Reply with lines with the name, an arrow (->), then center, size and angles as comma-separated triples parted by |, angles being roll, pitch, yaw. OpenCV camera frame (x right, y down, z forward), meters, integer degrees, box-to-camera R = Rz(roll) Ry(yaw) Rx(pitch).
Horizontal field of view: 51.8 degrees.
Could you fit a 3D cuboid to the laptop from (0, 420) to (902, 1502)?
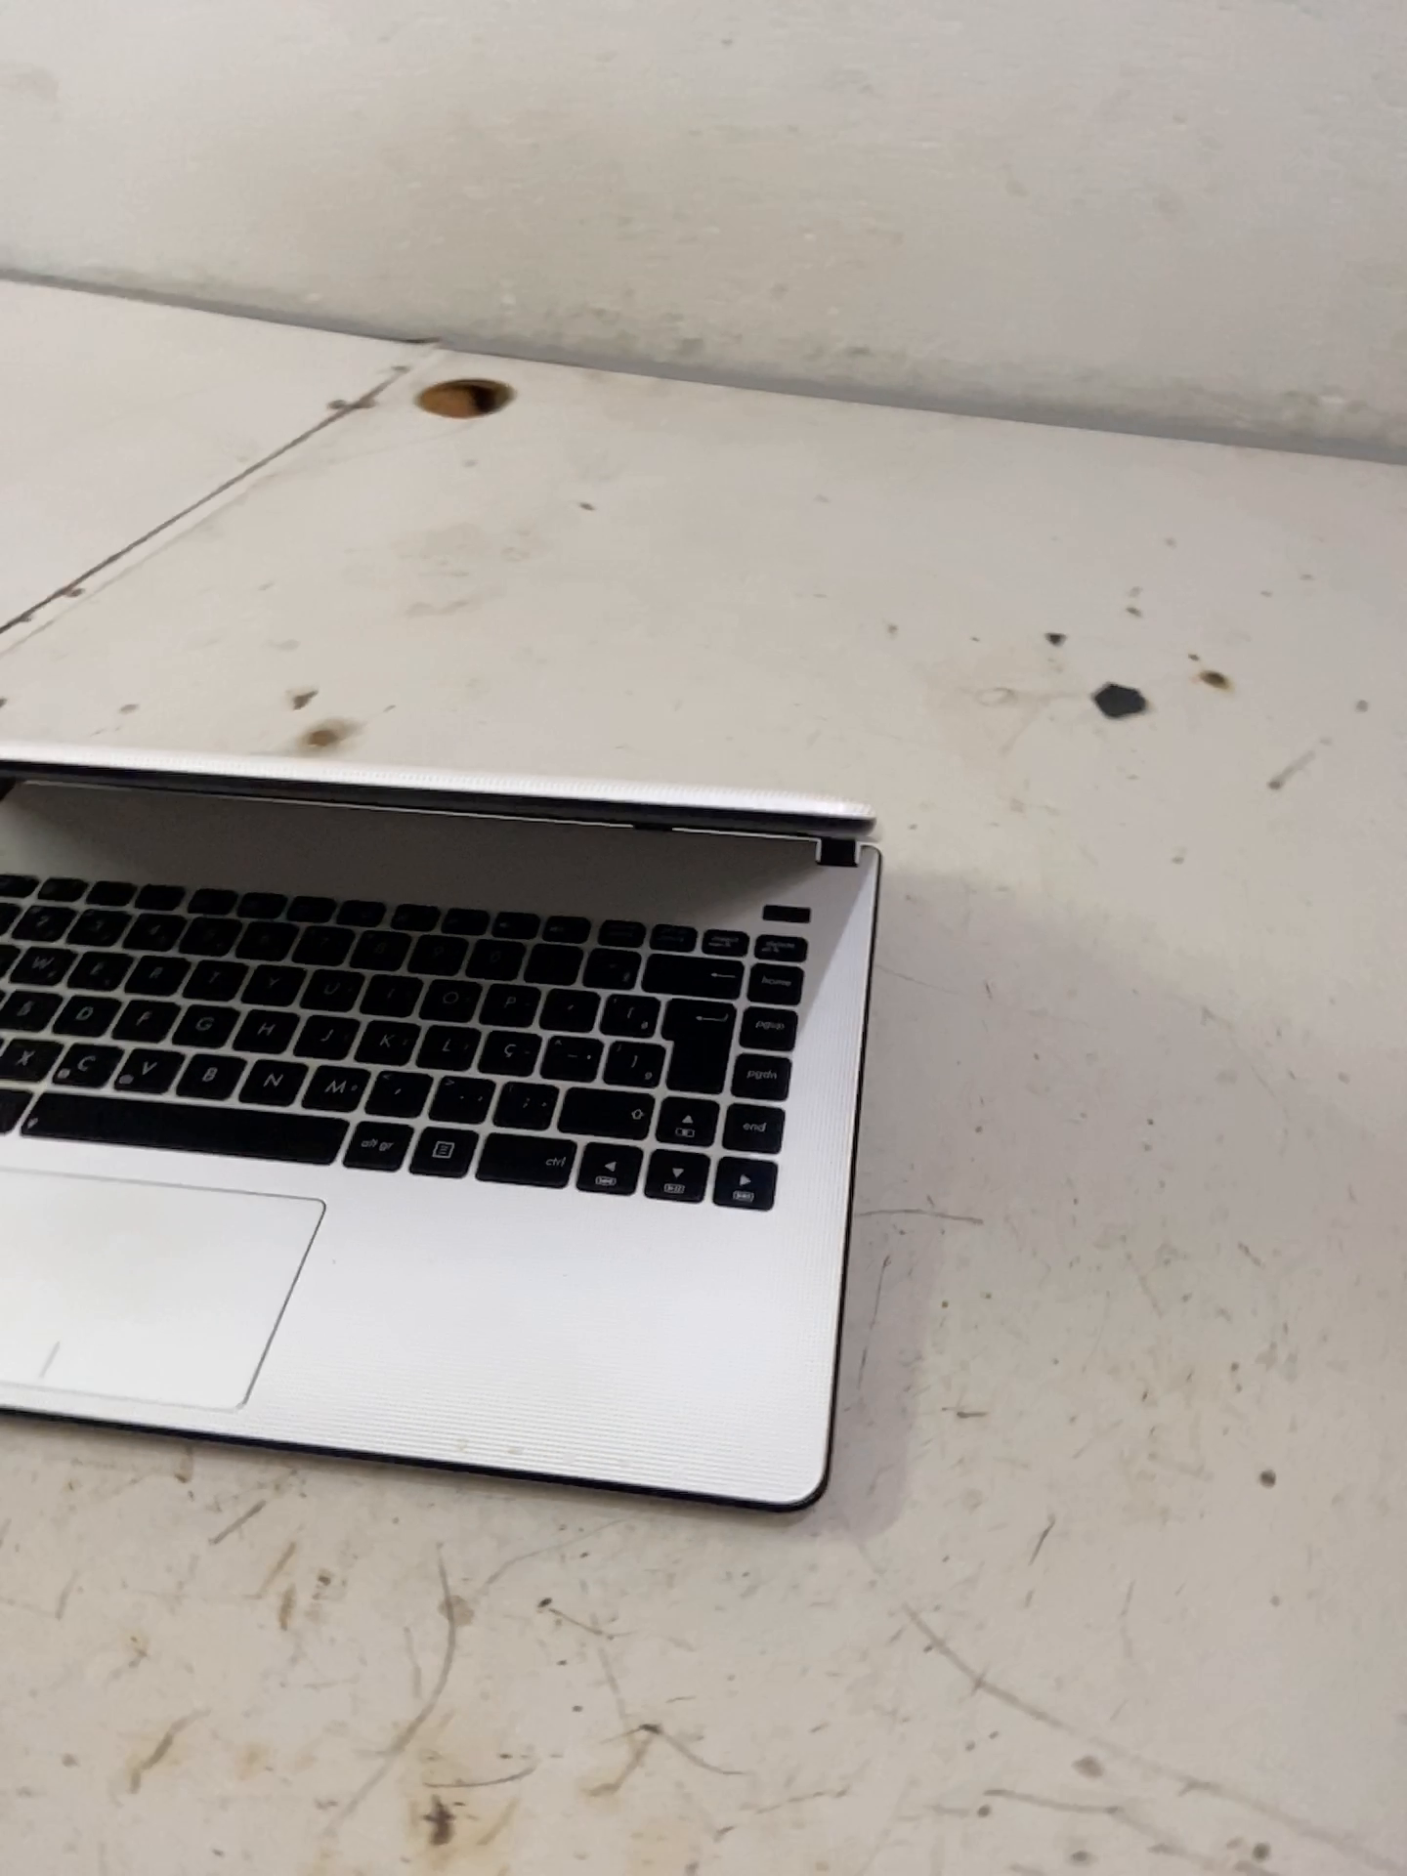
laptop -> -0.129, -0.016, 0.397 | 0.343, 0.141, 0.237 | 4, 43, 7
